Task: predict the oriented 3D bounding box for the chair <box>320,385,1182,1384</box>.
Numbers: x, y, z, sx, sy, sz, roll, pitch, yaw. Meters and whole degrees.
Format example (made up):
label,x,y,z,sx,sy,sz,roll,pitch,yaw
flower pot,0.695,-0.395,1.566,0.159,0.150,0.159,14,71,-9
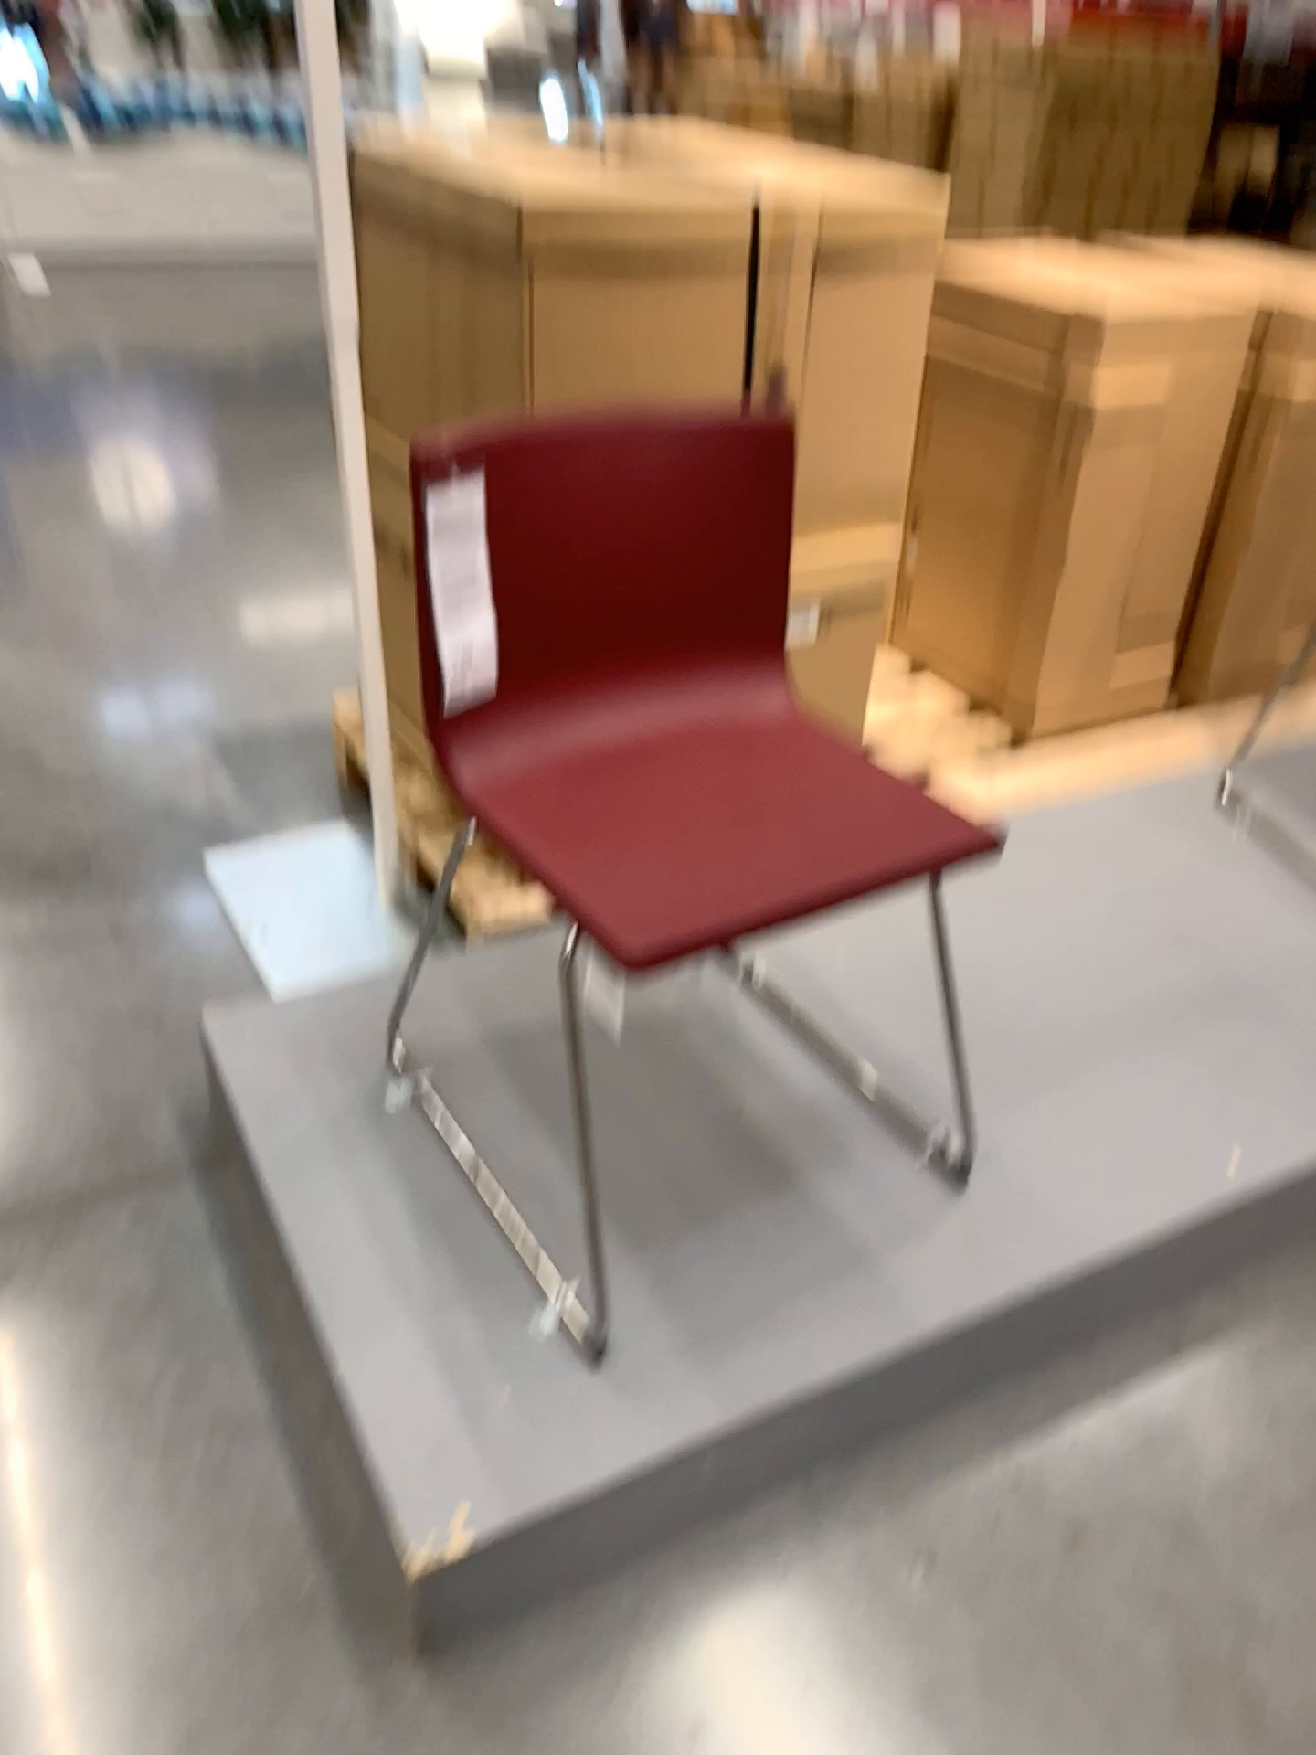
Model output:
label,x,y,z,sx,sy,sz,roll,pitch,yaw
chair,0.040,-0.037,1.370,0.531,0.726,0.552,-17,38,-28
